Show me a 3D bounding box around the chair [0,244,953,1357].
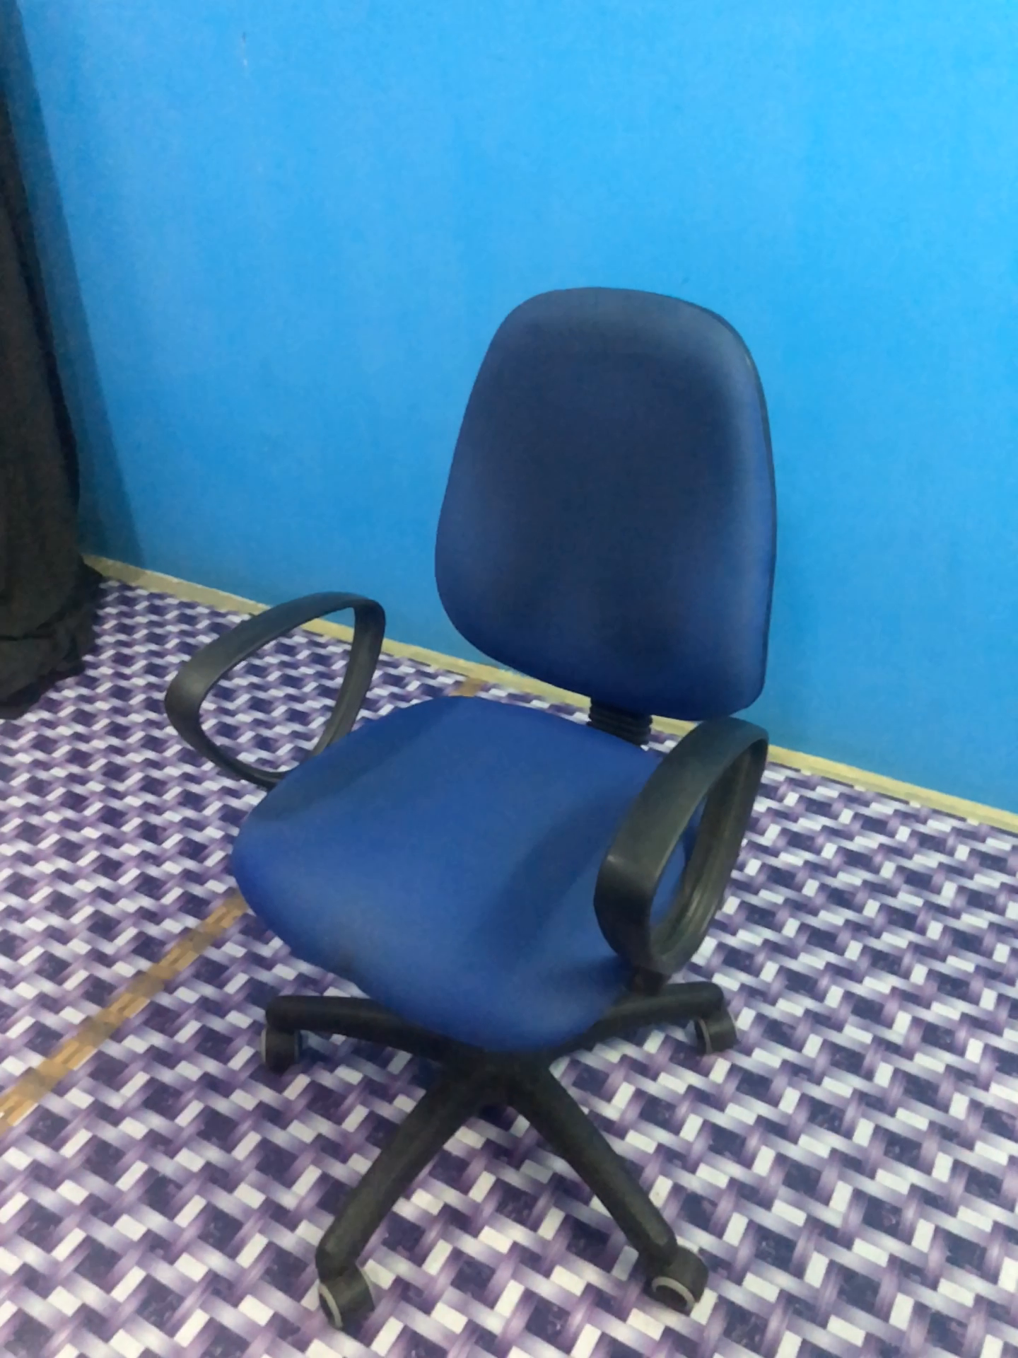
[{"bbox_3d":[-0.073,0.117,1.127,0.700,0.875,0.674,17,36,26],"label":"chair"}]
